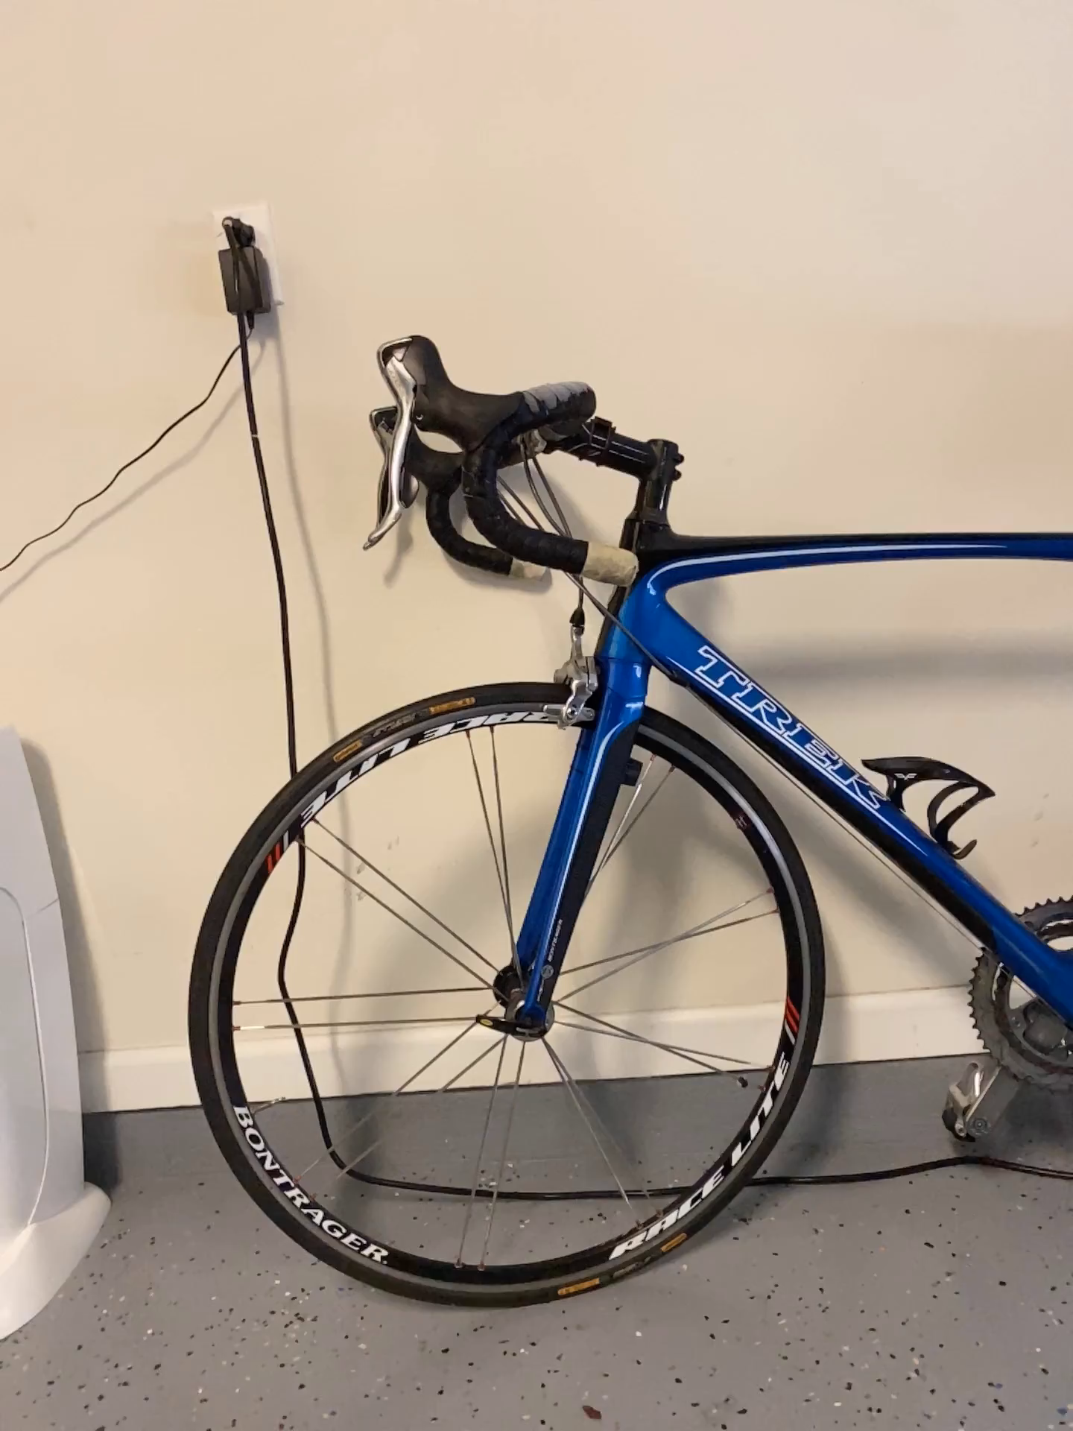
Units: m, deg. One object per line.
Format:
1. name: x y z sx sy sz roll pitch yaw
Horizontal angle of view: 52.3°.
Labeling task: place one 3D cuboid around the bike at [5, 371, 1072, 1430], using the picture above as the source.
1. bike: 0.529 0.167 1.018 1.638 0.883 0.401 -3 8 -7
